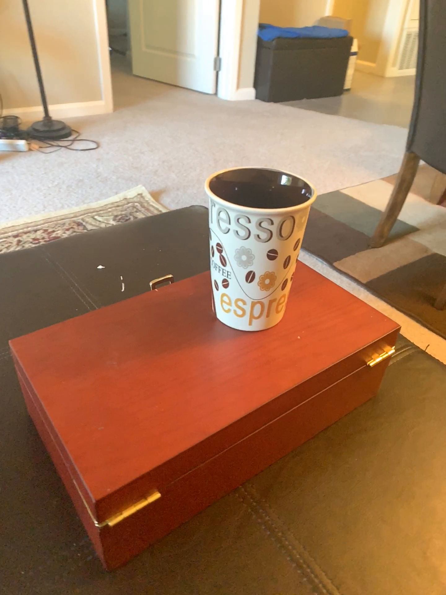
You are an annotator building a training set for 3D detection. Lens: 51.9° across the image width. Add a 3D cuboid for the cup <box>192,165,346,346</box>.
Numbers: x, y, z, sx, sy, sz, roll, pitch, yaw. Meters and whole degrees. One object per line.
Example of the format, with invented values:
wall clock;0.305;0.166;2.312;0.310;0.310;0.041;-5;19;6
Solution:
cup;0.029;-0.039;0.389;0.090;0.109;0.101;-7;37;-14
